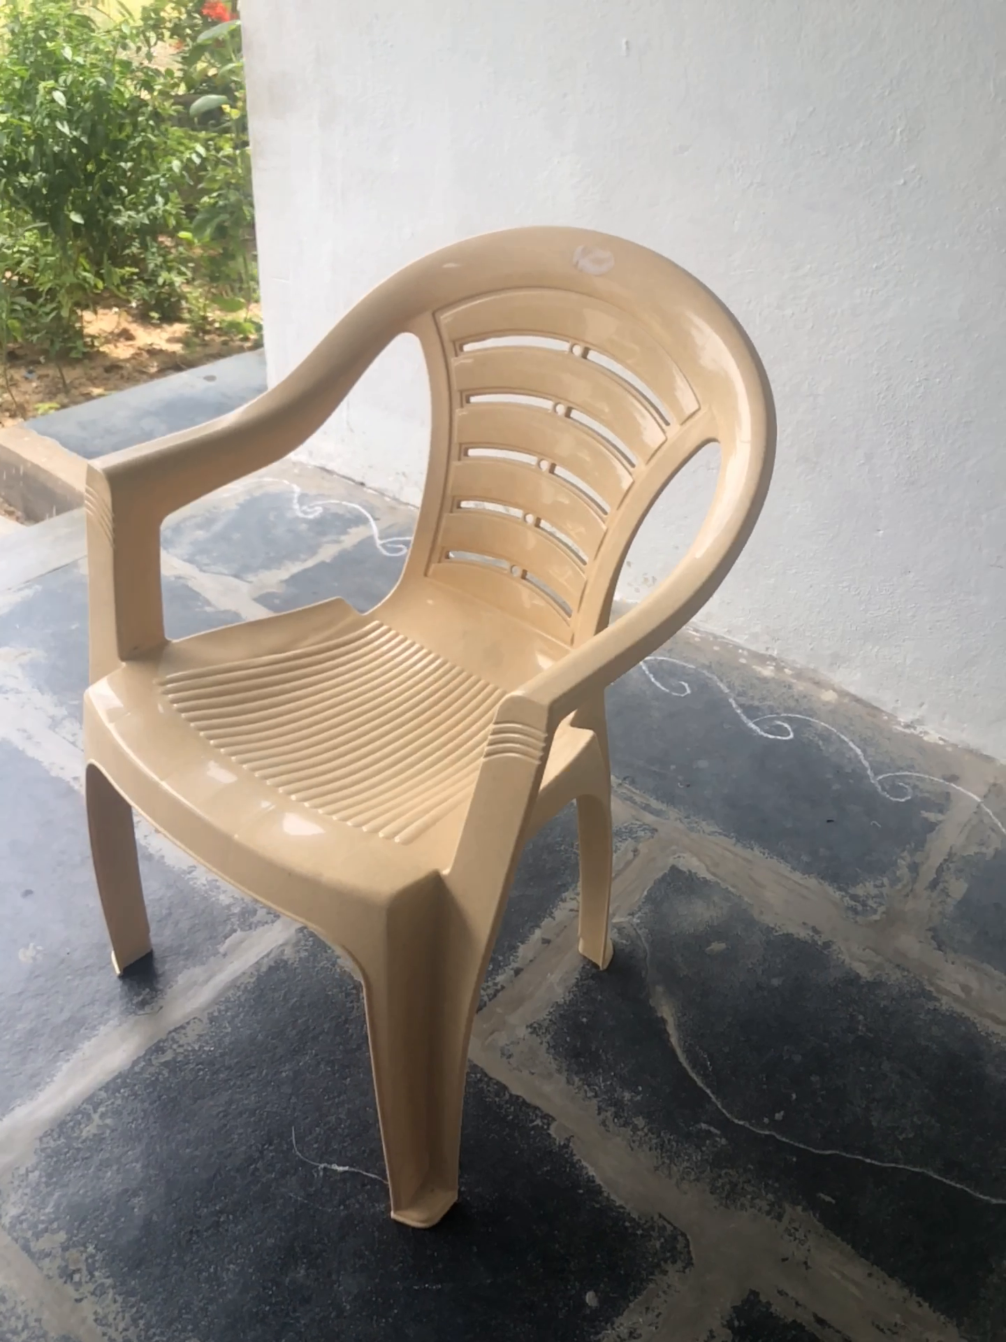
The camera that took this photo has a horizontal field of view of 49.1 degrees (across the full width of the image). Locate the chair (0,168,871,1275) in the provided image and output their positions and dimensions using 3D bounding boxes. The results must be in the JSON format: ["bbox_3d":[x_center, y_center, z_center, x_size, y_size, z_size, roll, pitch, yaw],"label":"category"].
[{"bbox_3d":[-0.122,-0.020,1.135,0.620,0.736,0.653,24,40,25],"label":"chair"}]
